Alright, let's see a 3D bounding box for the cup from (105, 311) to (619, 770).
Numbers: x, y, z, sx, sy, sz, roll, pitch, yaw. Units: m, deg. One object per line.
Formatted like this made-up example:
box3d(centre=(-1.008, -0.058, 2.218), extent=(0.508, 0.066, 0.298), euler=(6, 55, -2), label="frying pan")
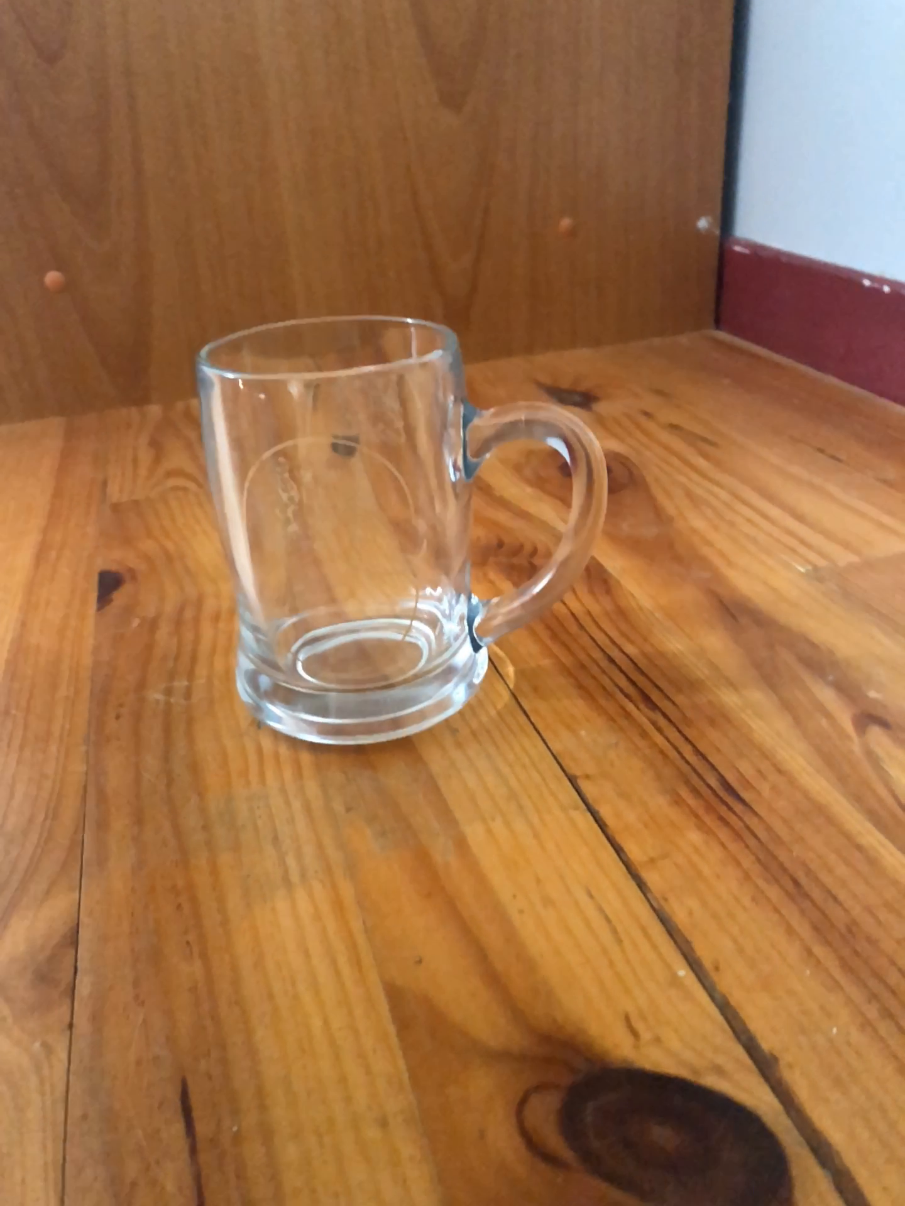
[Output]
box3d(centre=(-0.016, -0.025, 0.315), extent=(0.128, 0.110, 0.092), euler=(3, 29, 11), label="cup")
